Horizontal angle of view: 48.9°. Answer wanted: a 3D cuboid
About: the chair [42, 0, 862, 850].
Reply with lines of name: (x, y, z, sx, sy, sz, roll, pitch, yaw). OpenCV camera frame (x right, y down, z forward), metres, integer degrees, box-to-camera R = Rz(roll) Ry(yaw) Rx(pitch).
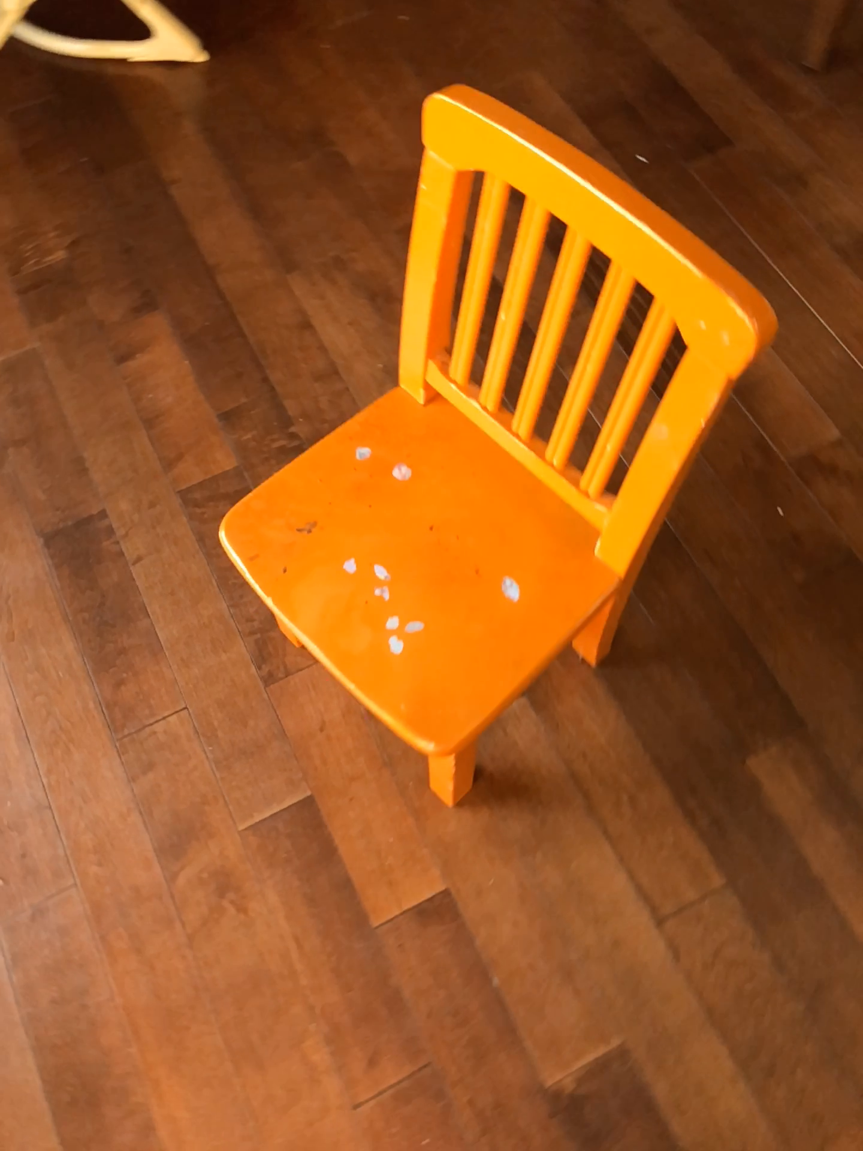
chair: (0.021, -0.067, 0.826, 0.350, 0.569, 0.360, -41, 70, -16)
